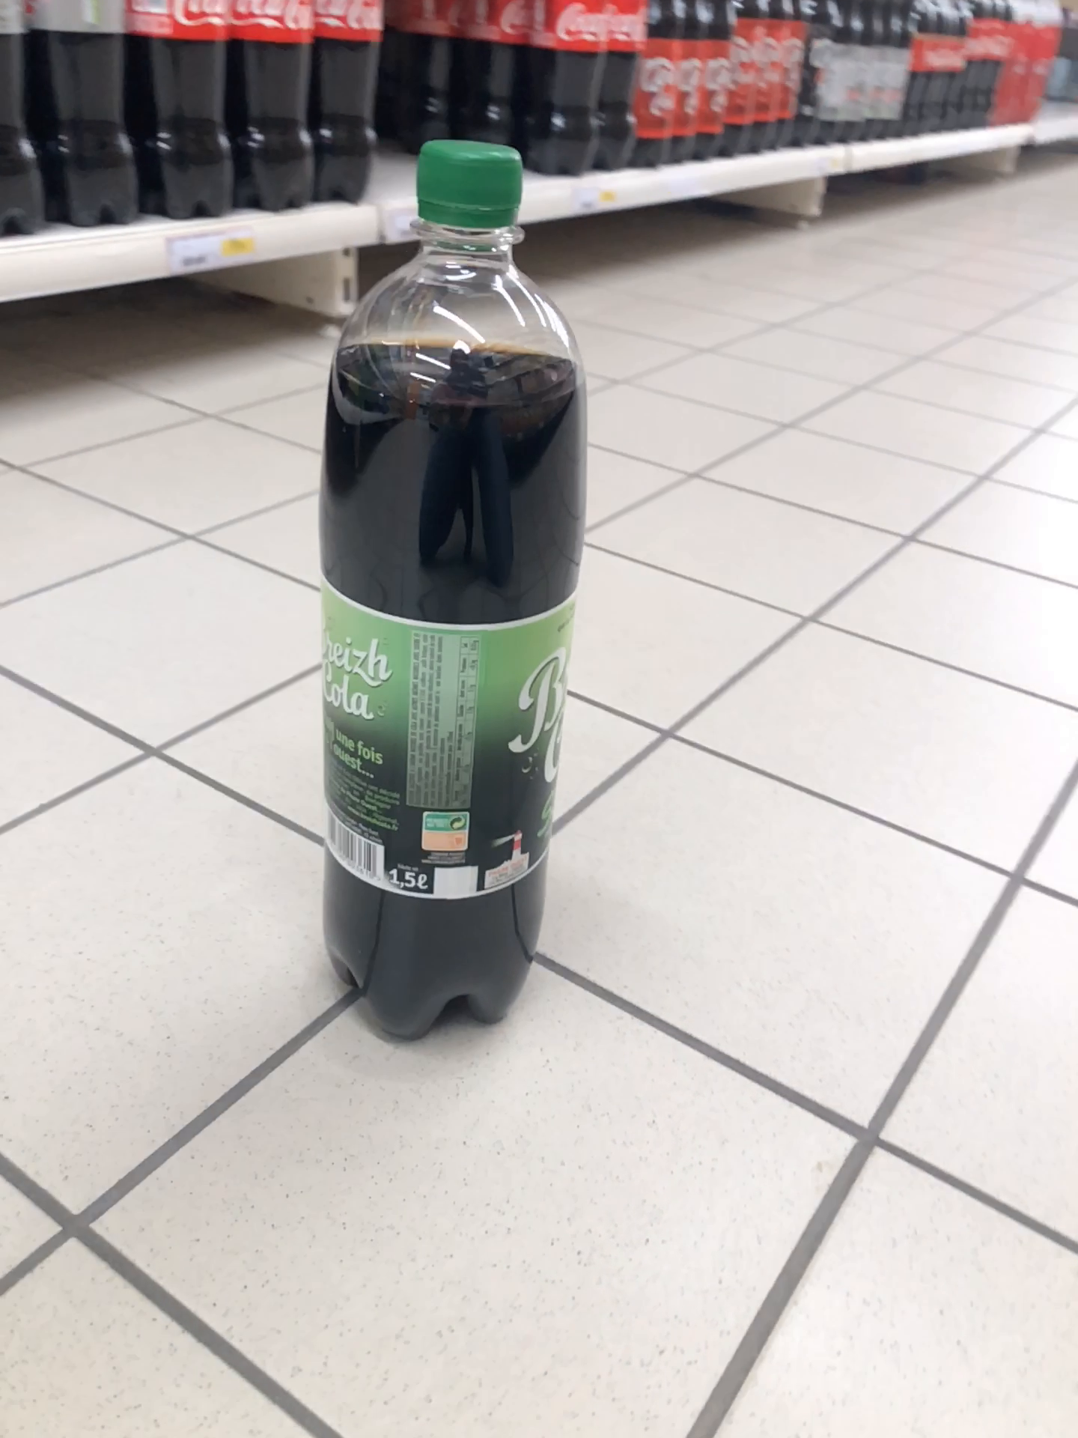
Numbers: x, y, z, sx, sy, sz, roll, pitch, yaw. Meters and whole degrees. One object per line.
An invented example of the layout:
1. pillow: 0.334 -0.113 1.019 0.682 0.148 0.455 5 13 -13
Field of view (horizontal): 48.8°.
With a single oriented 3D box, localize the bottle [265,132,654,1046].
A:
1. bottle: -0.039 -0.034 0.420 0.100 0.298 0.100 4 30 -2
